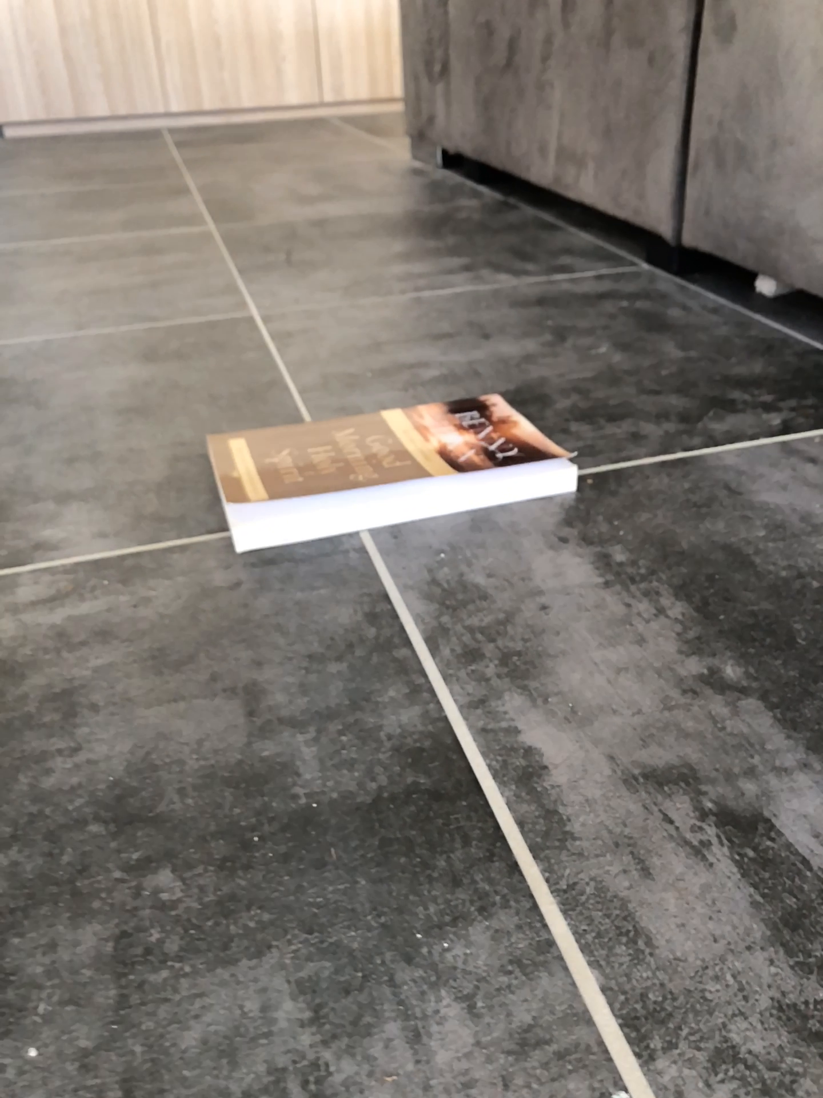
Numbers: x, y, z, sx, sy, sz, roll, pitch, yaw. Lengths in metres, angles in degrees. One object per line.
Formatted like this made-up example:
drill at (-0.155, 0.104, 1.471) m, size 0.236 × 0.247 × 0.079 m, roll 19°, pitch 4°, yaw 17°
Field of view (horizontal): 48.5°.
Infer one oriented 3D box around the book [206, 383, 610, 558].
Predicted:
book at (-0.010, -0.060, 0.600) m, size 0.230 × 0.020 × 0.151 m, roll -11°, pitch 31°, yaw -13°
